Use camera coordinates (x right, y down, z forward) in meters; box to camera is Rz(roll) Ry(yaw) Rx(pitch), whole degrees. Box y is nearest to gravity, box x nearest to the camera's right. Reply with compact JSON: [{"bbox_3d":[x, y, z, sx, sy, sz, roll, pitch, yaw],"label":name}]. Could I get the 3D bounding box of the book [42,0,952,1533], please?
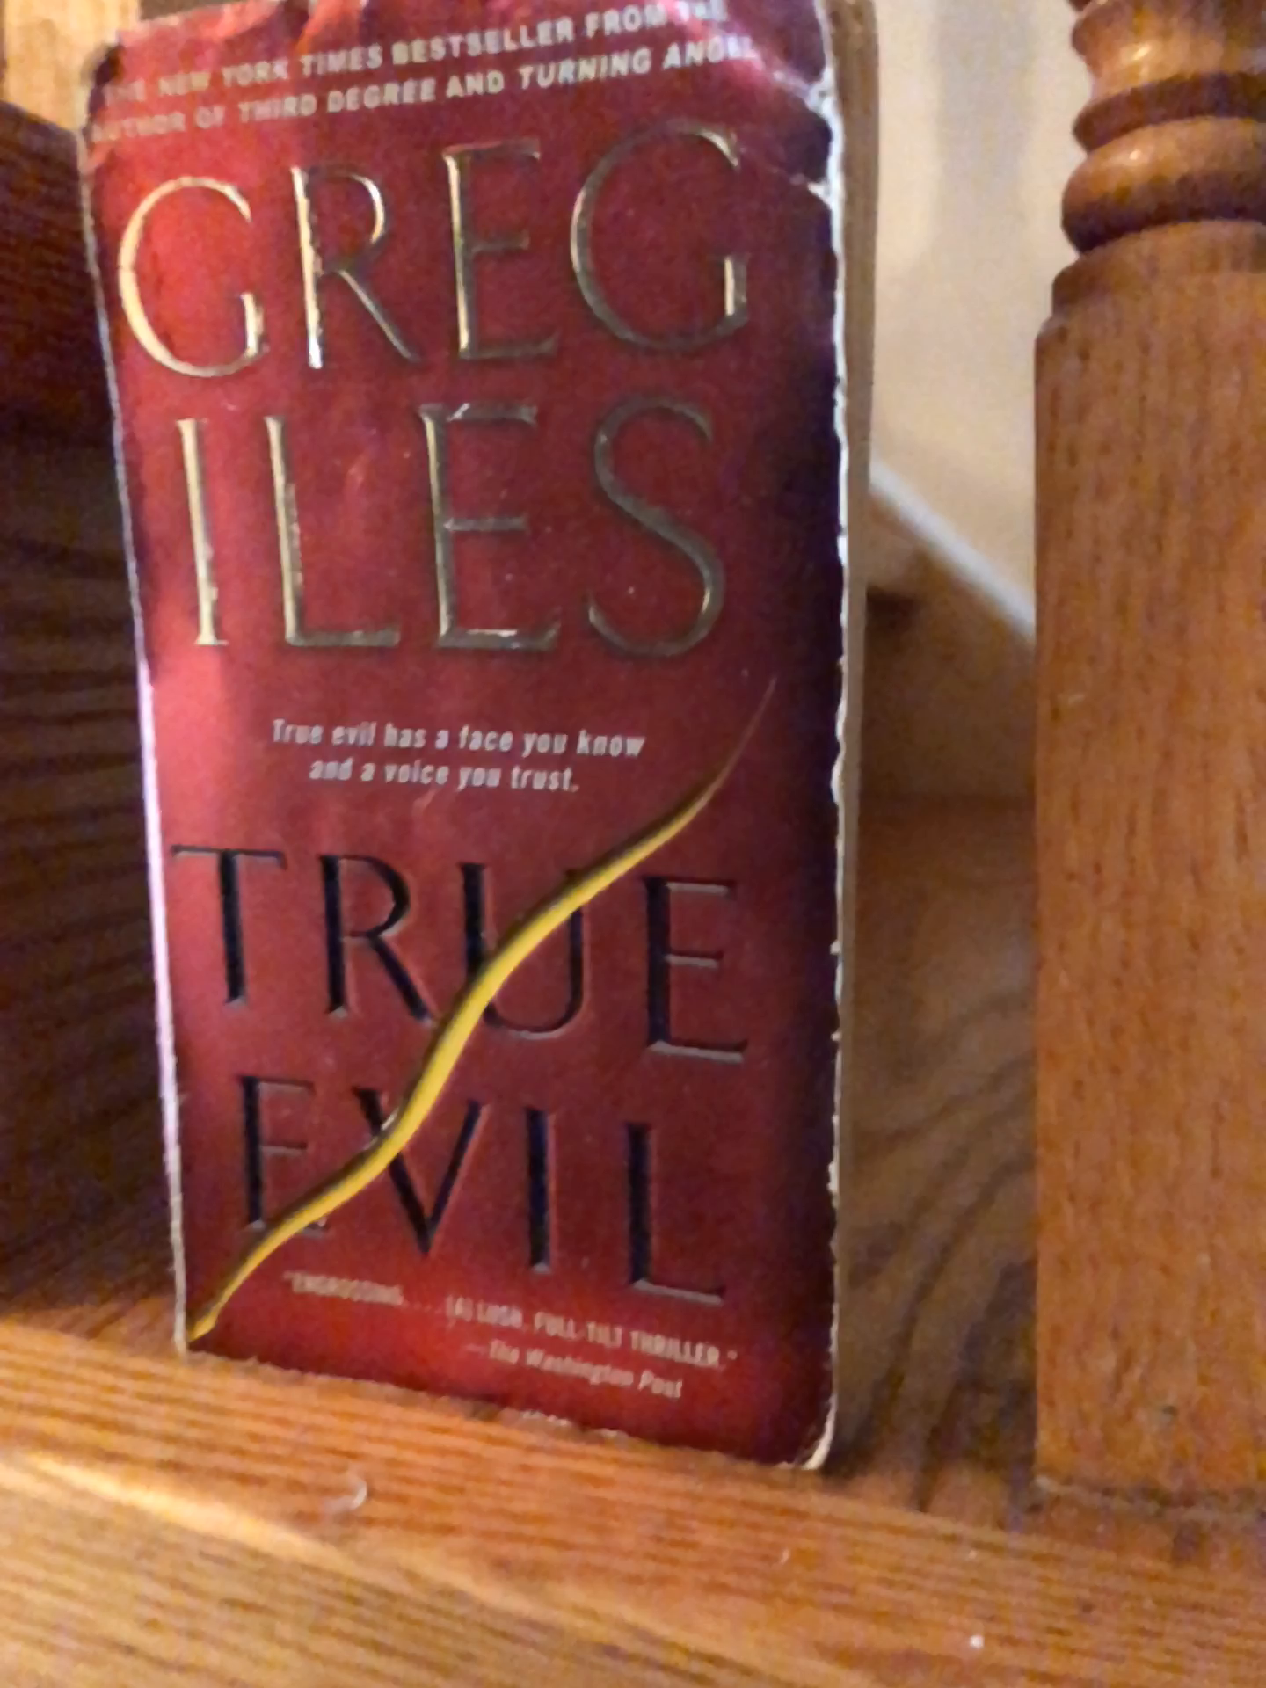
[{"bbox_3d":[-0.016,-0.018,0.226,0.120,0.205,0.068,2,7,20],"label":"book"}]
